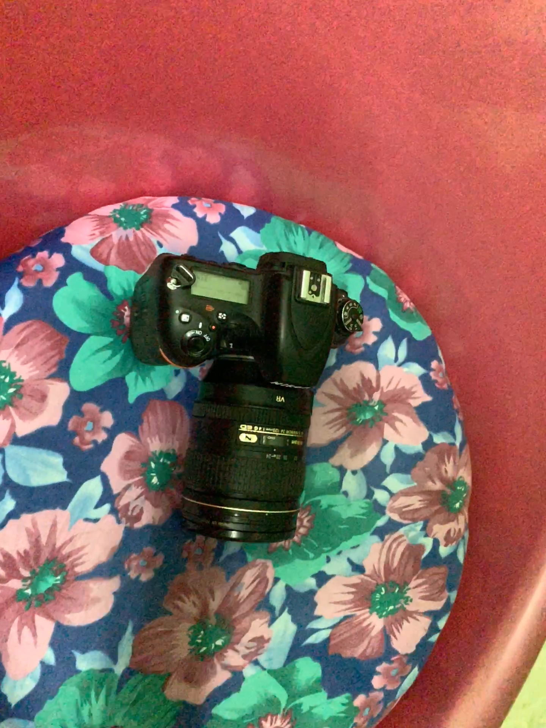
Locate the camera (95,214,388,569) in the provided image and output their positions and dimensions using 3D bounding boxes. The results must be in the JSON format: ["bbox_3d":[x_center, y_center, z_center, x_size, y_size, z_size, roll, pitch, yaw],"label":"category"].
[{"bbox_3d":[-0.023,0.025,0.360,0.140,0.111,0.179,9,81,-23],"label":"camera"}]
